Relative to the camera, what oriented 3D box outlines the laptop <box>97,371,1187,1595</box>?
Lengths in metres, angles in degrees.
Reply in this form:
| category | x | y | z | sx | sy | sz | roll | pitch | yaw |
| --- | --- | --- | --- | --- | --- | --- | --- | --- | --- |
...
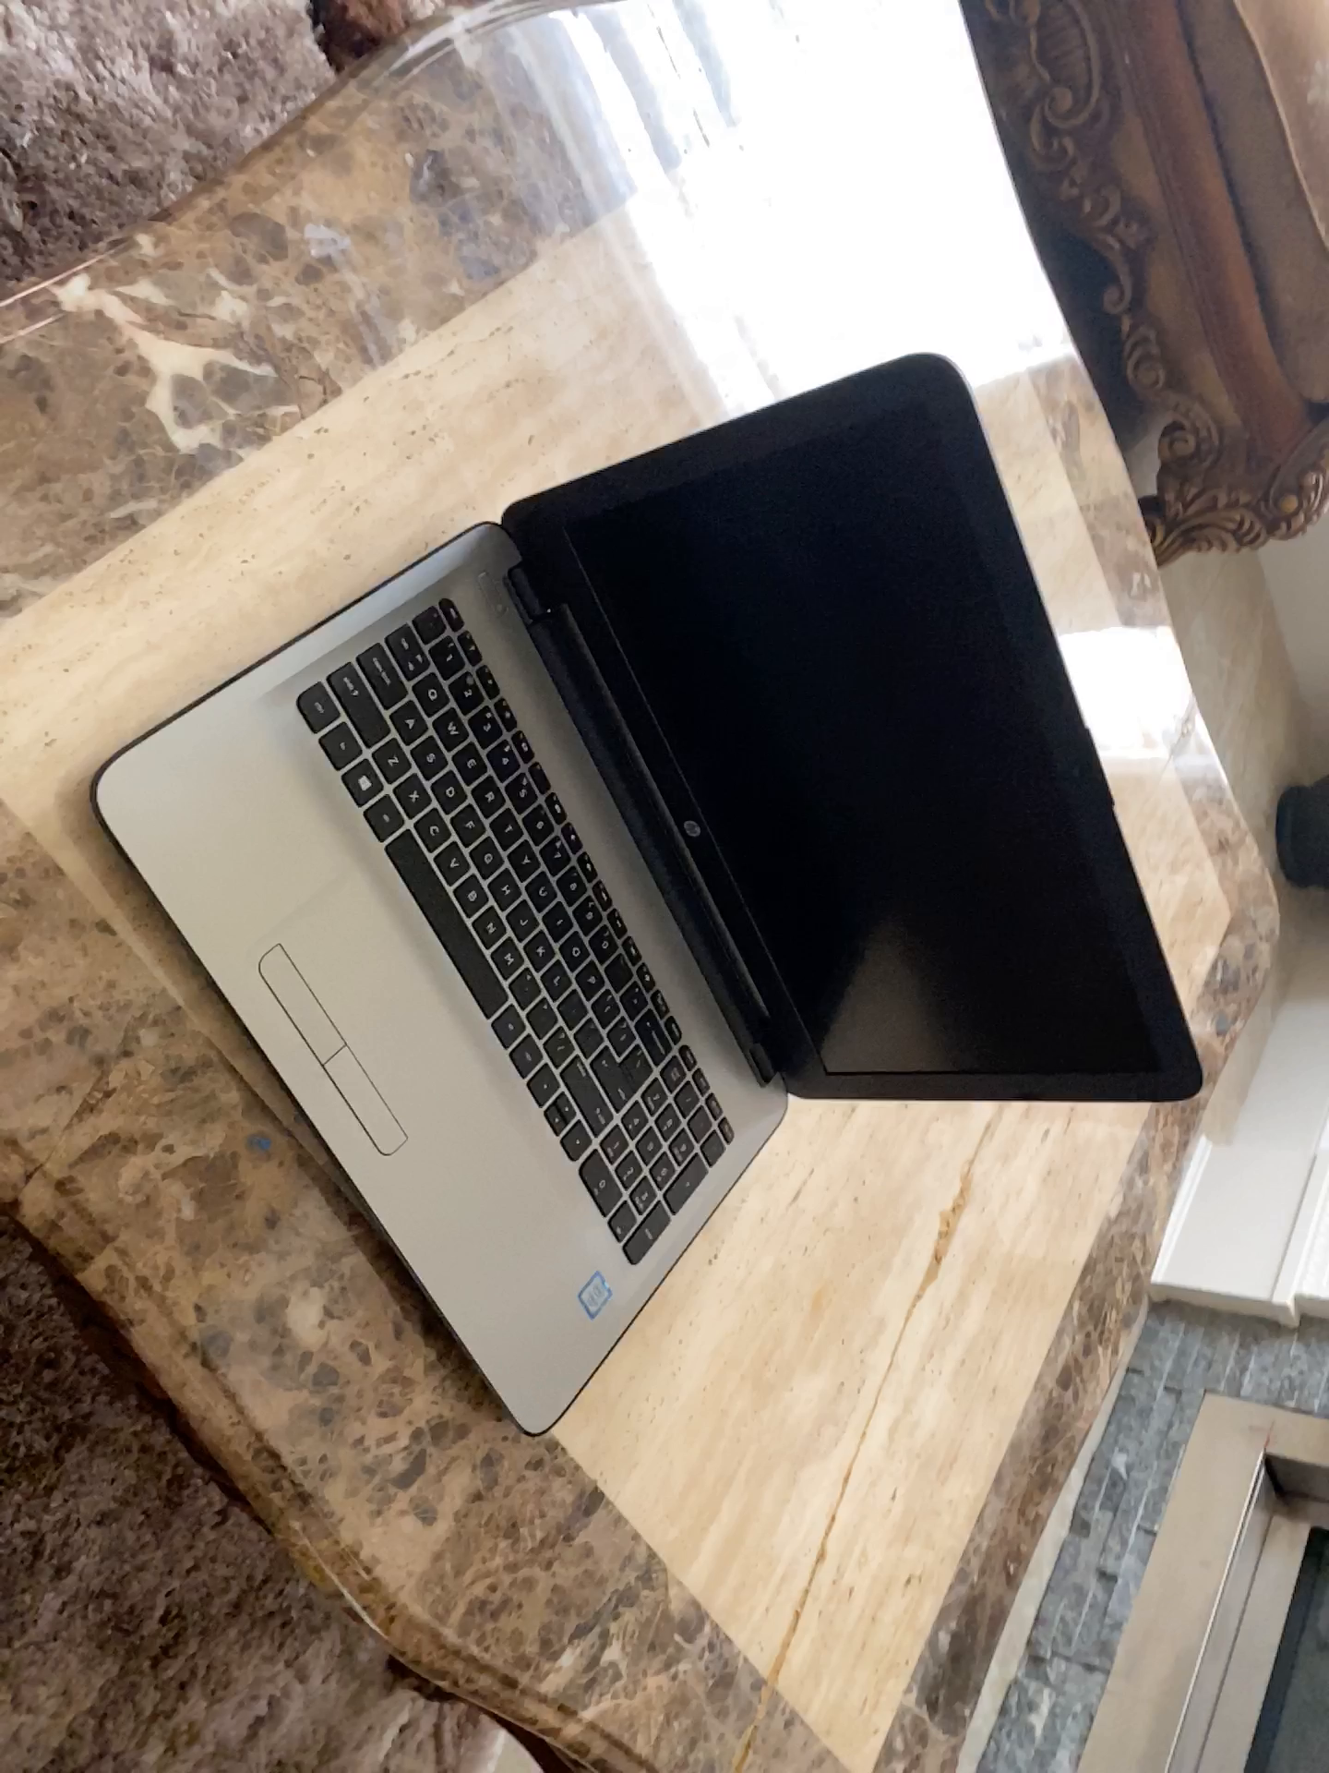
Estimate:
| category | x | y | z | sx | sy | sz | roll | pitch | yaw |
| --- | --- | --- | --- | --- | --- | --- | --- | --- | --- |
| laptop | 0.022 | 0.036 | 0.583 | 0.266 | 0.240 | 0.372 | -47 | 121 | -38 |
